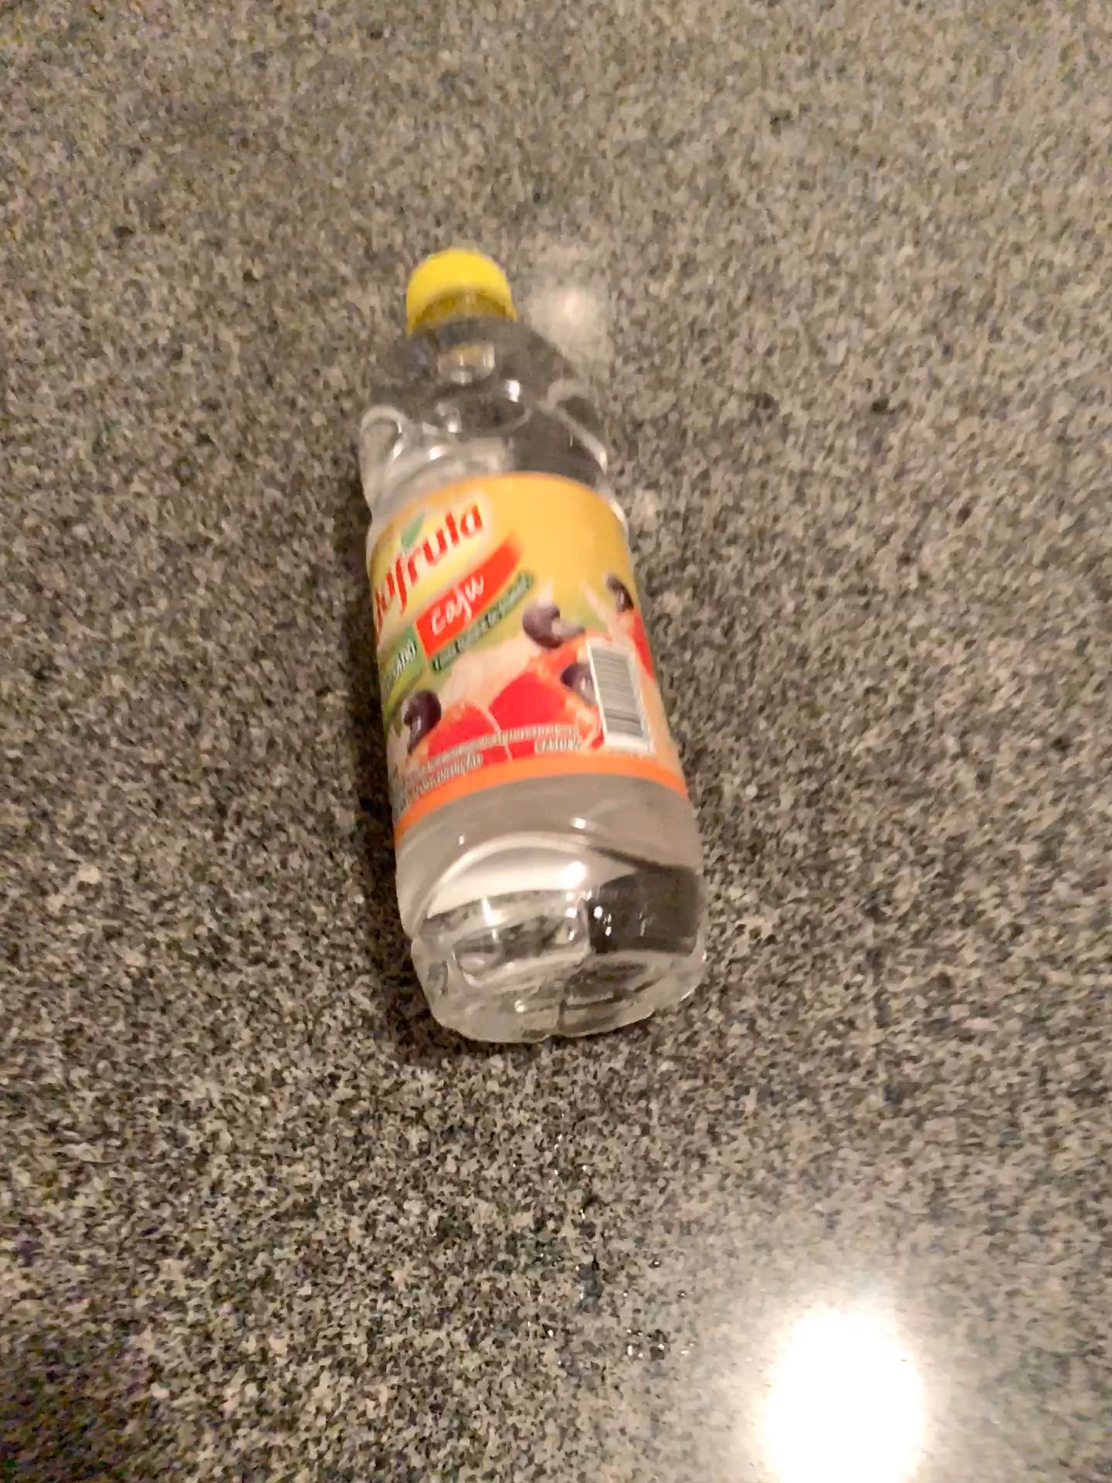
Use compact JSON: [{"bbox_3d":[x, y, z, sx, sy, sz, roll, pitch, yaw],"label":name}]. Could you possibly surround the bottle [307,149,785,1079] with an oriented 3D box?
[{"bbox_3d":[-0.014,-0.046,0.280,0.070,0.060,0.231,-7,59,-6],"label":"bottle"}]
